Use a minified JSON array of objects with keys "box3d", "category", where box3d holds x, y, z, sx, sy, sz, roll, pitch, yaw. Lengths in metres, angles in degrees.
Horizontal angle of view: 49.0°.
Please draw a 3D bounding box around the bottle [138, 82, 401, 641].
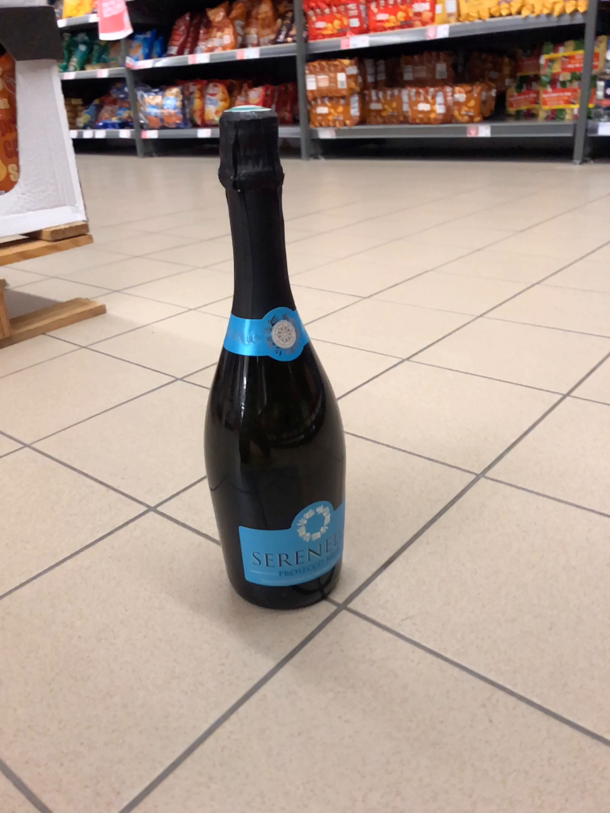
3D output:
[{"box3d":[-0.011,-0.023,0.399,0.100,0.298,0.090,-18,28,-28],"category":"bottle"}]
